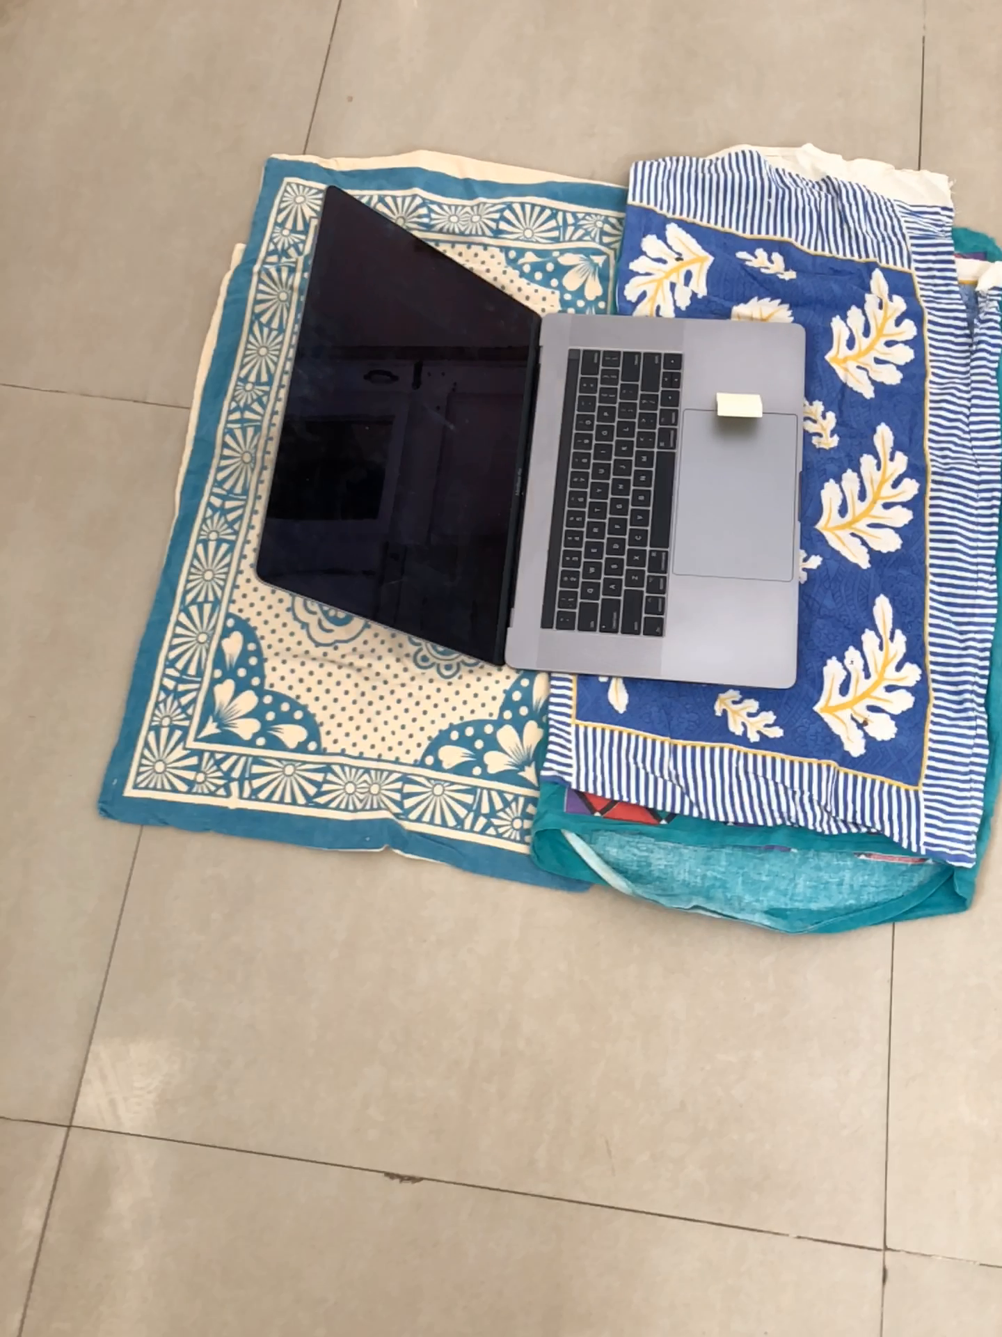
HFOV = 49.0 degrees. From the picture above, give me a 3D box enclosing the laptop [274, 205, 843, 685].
[{"bbox_3d":[0.053,-0.183,0.894,0.401,0.132,0.336,5,72,4],"label":"laptop"}]
